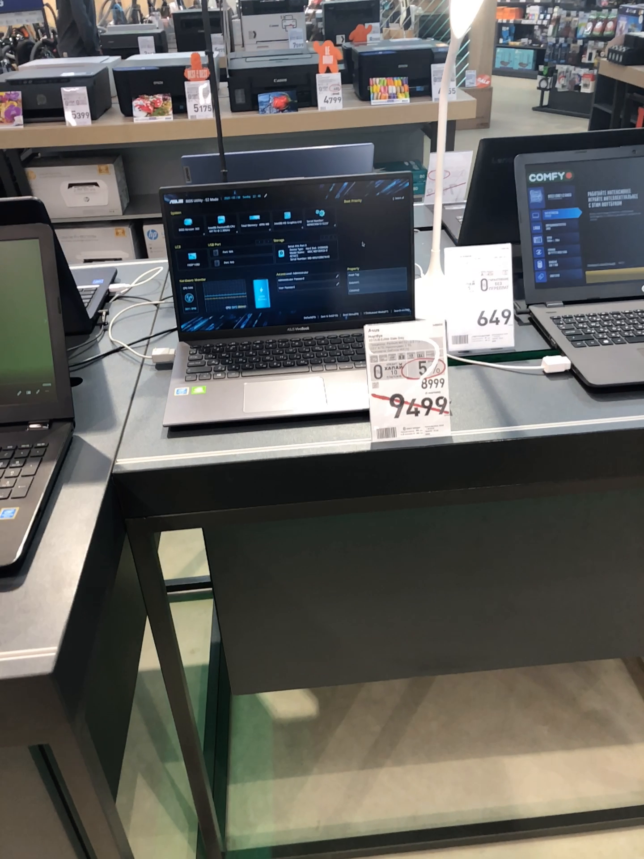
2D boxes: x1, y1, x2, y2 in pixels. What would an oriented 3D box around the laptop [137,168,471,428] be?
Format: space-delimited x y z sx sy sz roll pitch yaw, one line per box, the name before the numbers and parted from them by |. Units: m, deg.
laptop | -0.026 -0.182 0.919 0.355 0.200 0.288 -5 34 0
